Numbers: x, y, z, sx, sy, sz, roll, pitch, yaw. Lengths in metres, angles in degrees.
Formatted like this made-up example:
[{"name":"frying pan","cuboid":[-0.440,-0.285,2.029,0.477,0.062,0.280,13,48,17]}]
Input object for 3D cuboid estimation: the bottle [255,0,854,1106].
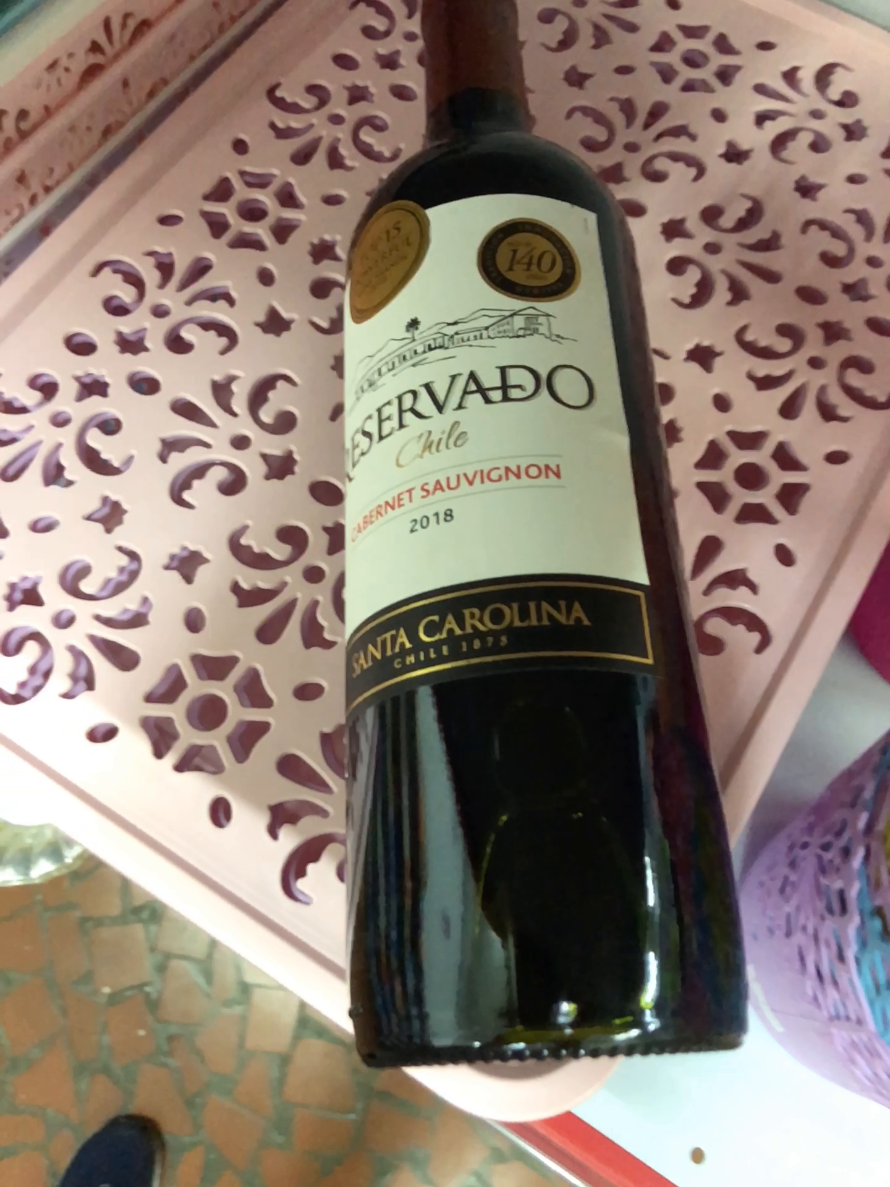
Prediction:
[{"name":"bottle","cuboid":[0.009,-0.066,0.236,0.080,0.060,0.331,-2,62,-1]}]
